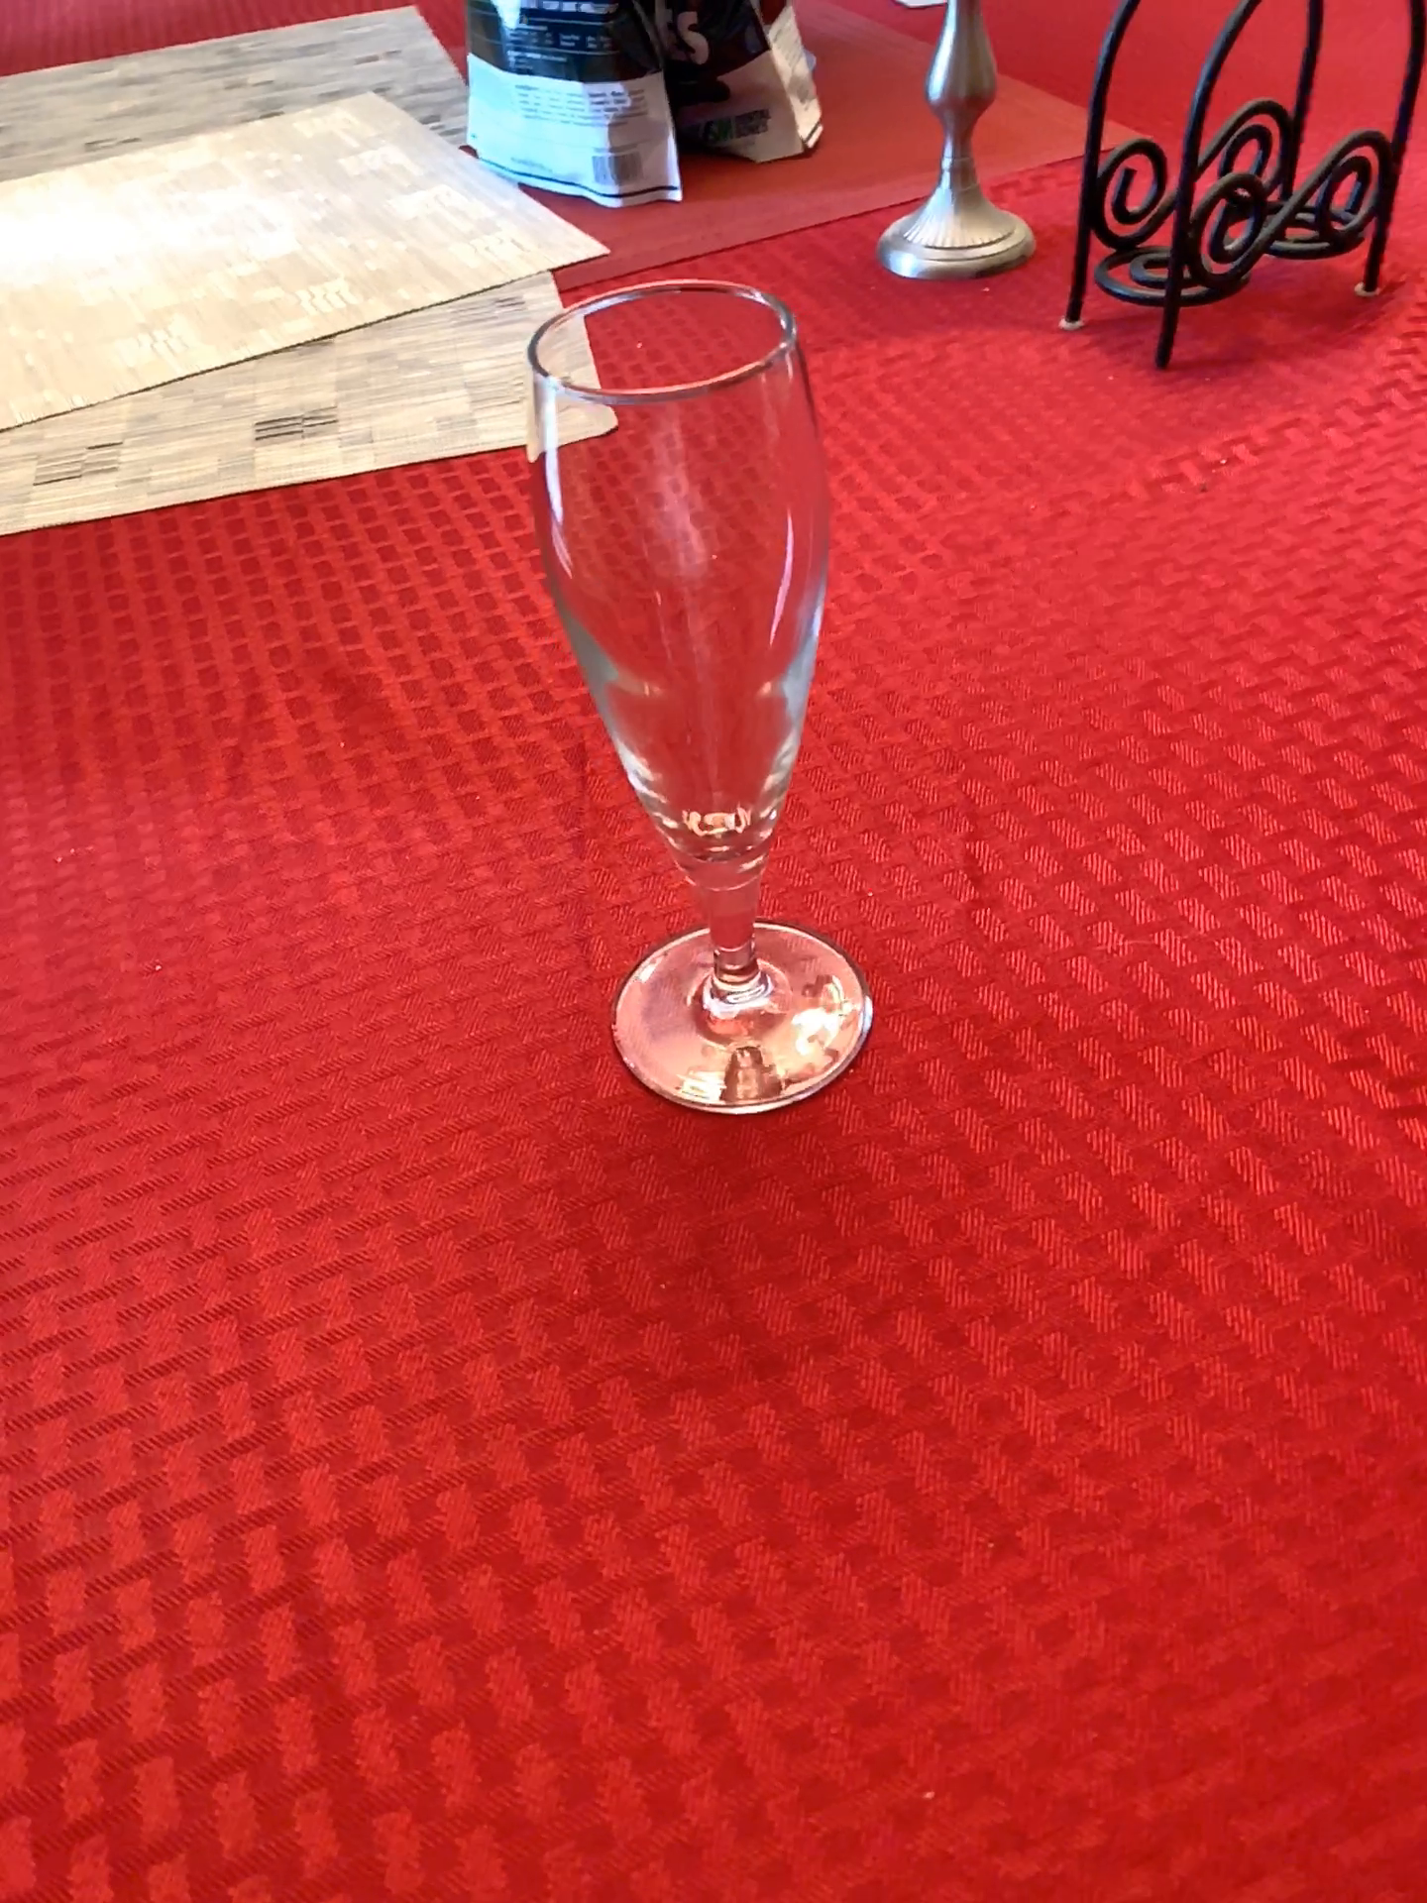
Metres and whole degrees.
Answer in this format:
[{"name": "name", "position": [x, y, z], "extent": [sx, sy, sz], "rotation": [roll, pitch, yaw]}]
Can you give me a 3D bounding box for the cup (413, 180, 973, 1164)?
[{"name": "cup", "position": [0.001, -0.049, 0.313], "extent": [0.080, 0.179, 0.080], "rotation": [-4, 45, 4]}]
